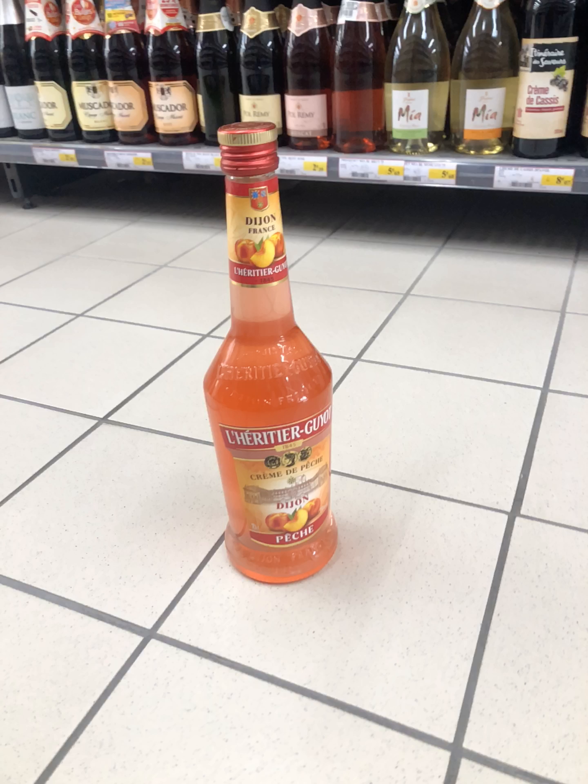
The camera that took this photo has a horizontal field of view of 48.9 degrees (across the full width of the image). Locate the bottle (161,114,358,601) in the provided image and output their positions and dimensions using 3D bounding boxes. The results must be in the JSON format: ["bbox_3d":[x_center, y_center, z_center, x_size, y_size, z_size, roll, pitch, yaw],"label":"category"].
[{"bbox_3d":[-0.016,-0.013,0.424,0.090,0.298,0.090,-3,29,2],"label":"bottle"}]
